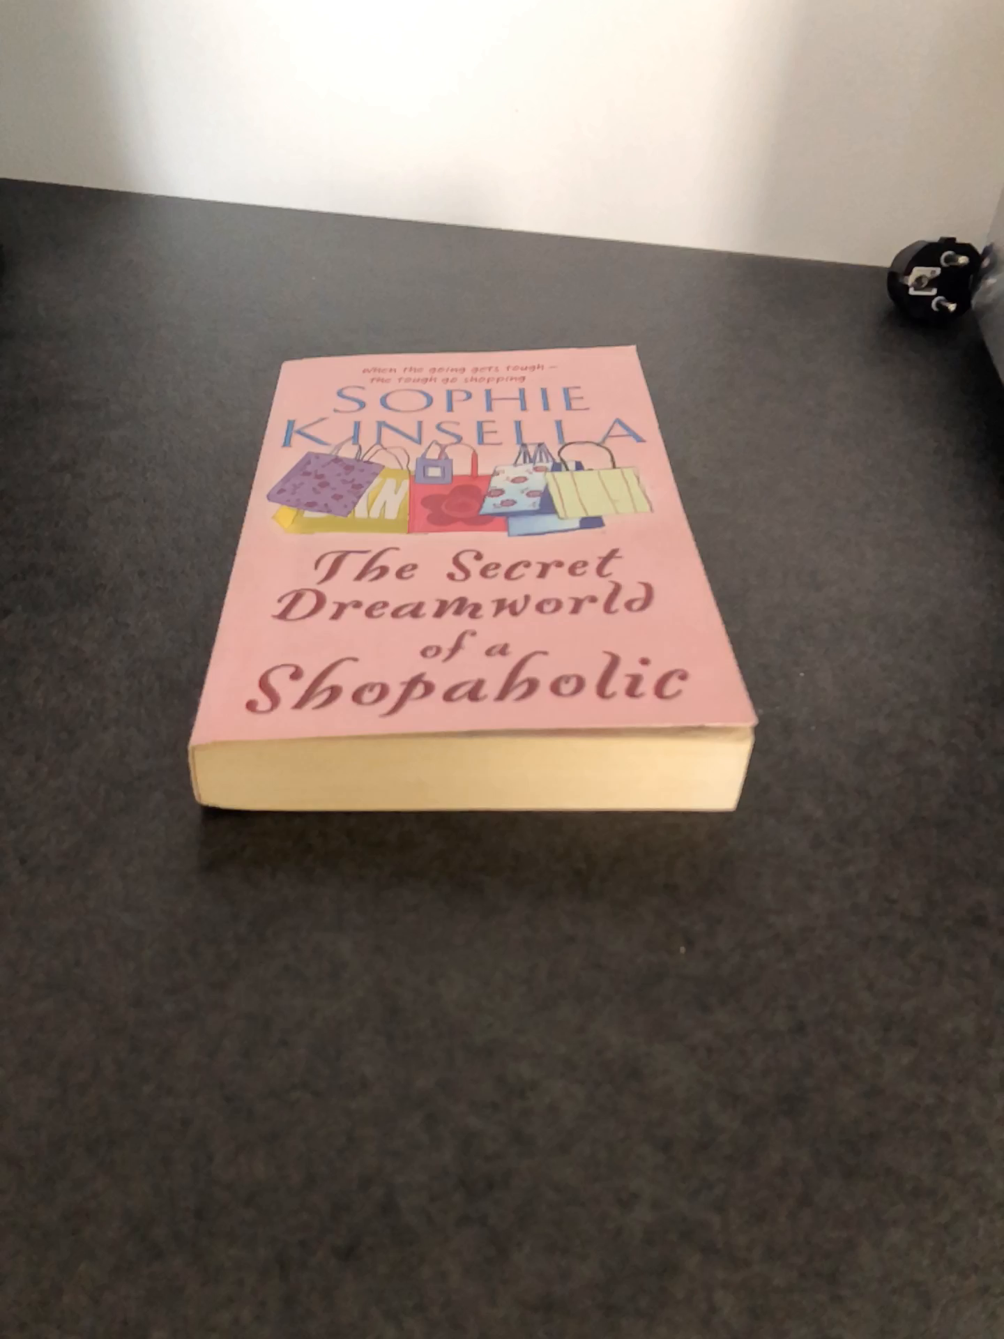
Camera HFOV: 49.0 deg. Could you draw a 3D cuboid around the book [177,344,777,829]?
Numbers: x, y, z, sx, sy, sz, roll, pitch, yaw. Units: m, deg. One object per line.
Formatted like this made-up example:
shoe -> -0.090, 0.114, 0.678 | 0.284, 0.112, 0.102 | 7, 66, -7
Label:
book -> -0.010, -0.039, 0.325 | 0.130, 0.030, 0.201 | 0, 40, -4
